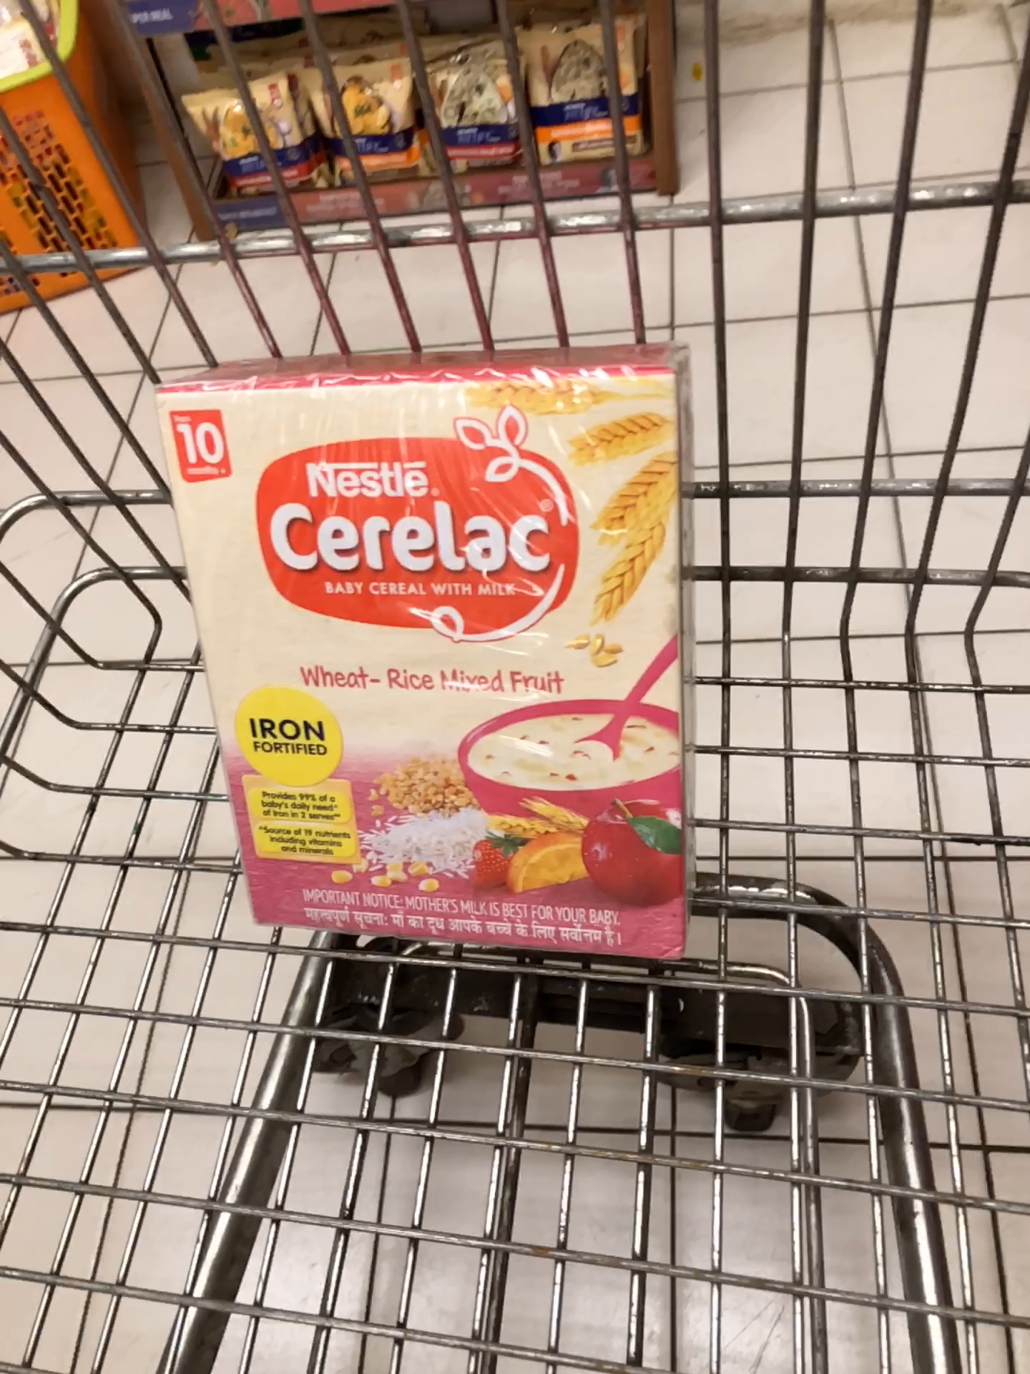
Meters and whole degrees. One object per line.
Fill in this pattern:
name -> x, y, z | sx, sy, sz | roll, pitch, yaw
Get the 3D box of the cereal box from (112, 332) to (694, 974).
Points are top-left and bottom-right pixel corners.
cereal box -> -0.023, -0.009, 0.351 | 0.150, 0.179, 0.060 | 1, 24, 12
